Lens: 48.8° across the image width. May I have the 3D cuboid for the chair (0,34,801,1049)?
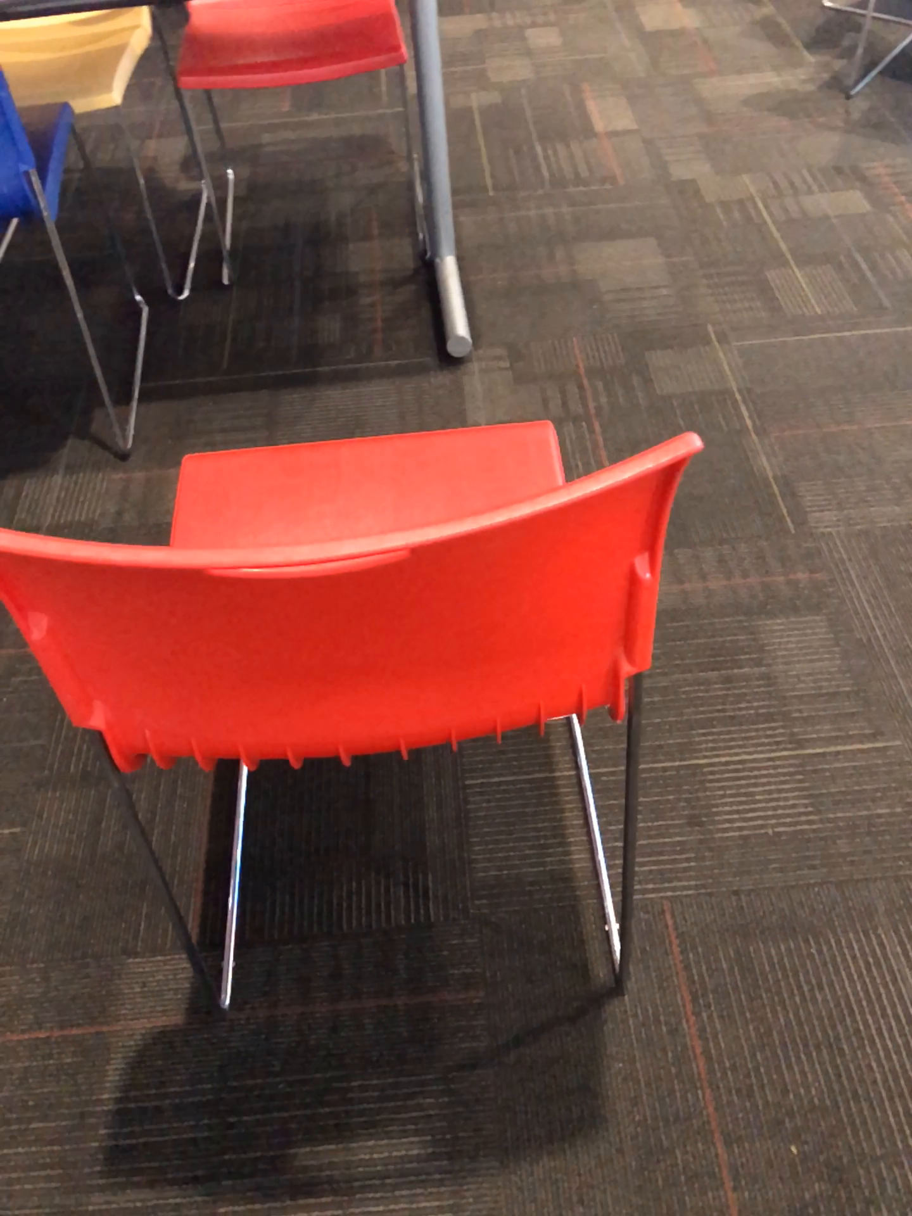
[{"bbox_3d":[-0.093,-0.024,1.012,0.560,0.767,0.612,-5,48,1],"label":"chair"}]
